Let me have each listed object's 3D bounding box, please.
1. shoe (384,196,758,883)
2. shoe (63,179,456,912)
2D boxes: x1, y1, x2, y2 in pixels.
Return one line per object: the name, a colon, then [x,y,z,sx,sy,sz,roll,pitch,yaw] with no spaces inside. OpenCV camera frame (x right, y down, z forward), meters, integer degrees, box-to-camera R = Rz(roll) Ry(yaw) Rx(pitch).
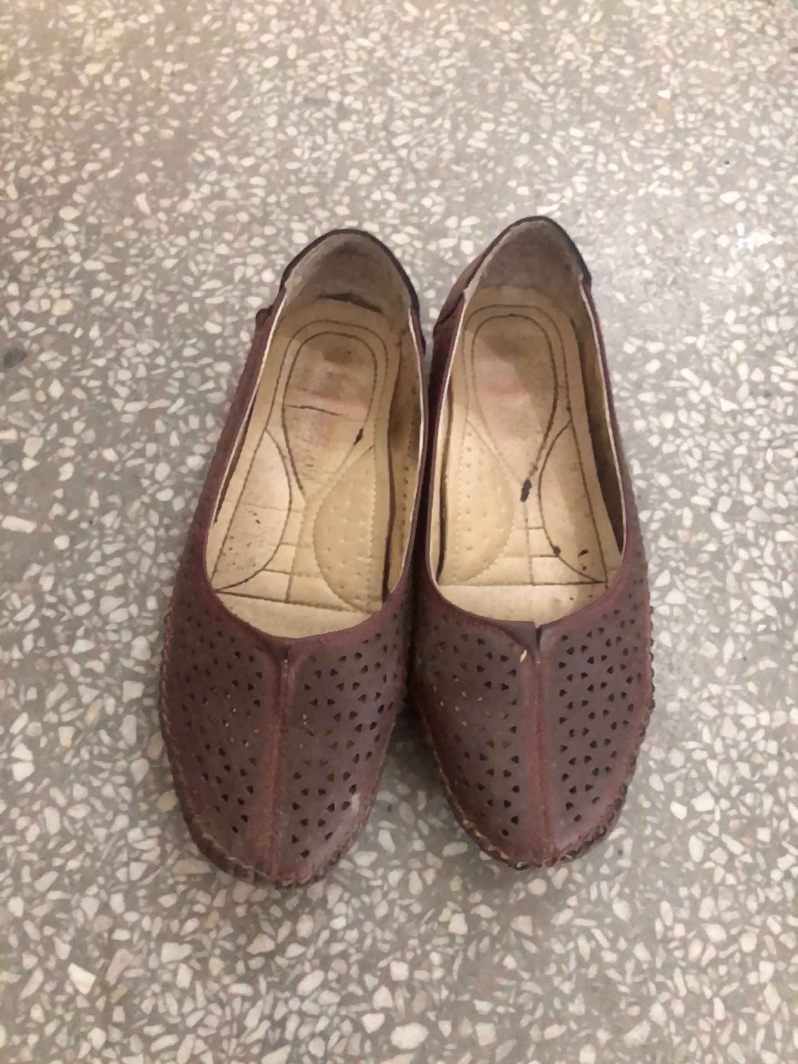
shoe: [0.047,0.001,0.322,0.095,0.080,0.231,0,70,-4]
shoe: [-0.037,0.001,0.318,0.087,0.080,0.236,7,69,-1]
